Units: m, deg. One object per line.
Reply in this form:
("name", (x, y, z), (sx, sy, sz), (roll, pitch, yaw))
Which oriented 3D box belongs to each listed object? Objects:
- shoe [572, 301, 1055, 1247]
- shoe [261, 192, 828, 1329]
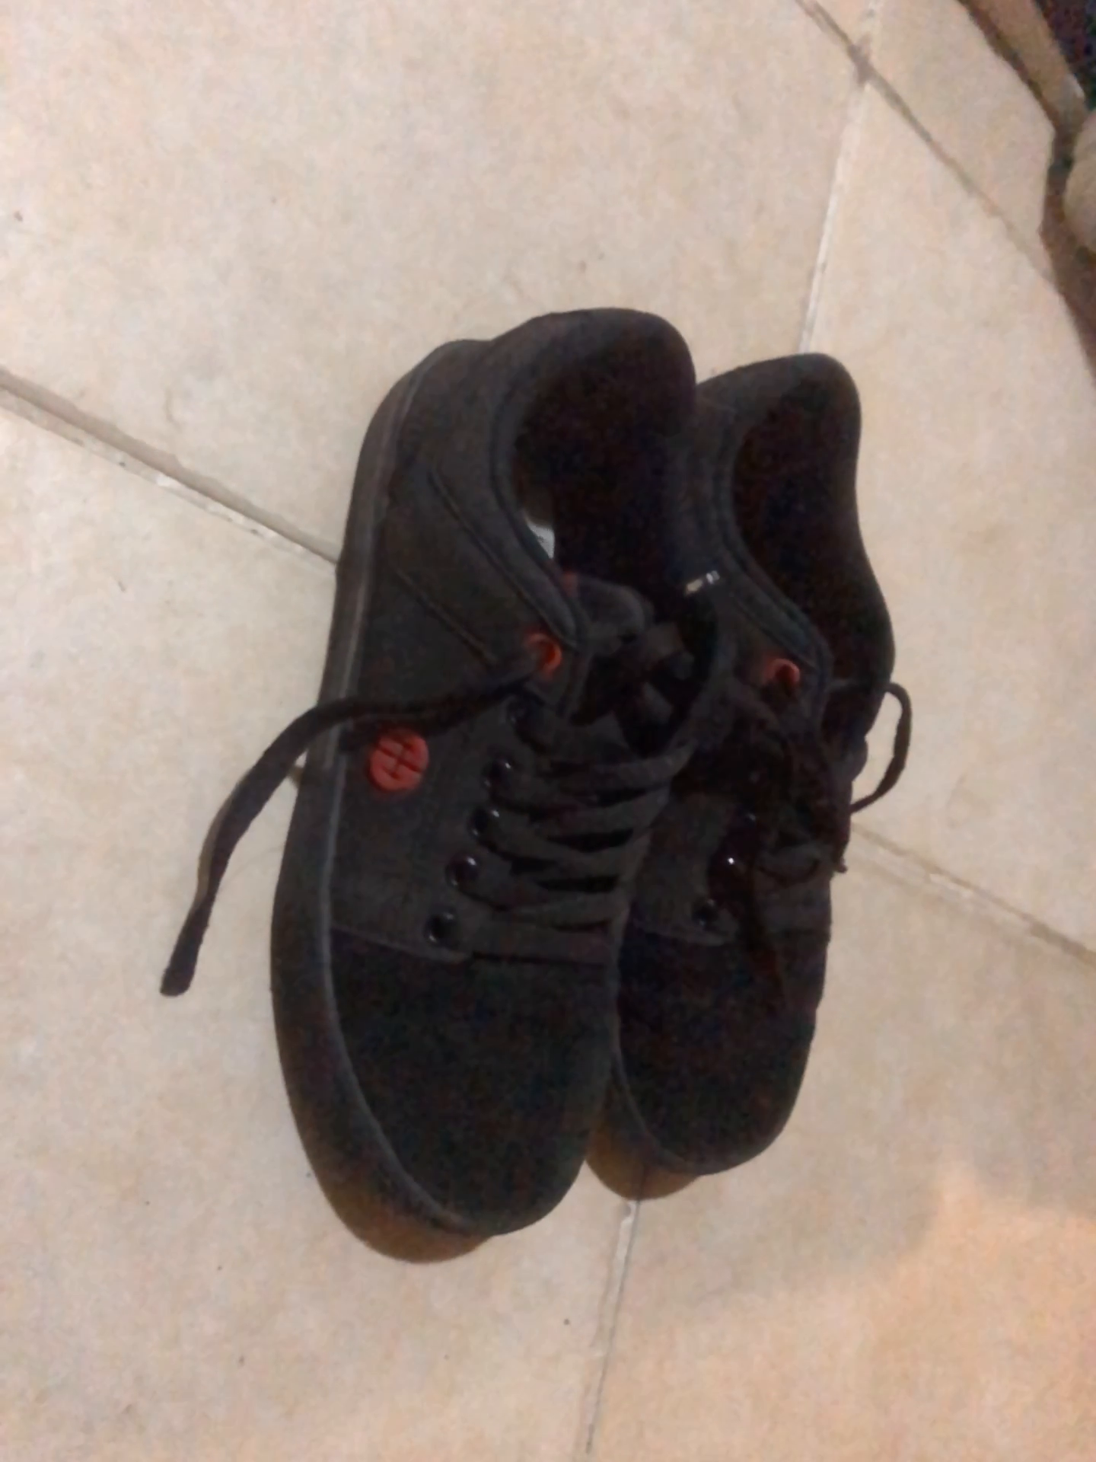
("shoe", (0.079, 0.013, 0.379), (0.101, 0.099, 0.240), (5, 82, -39))
("shoe", (0.002, 0.008, 0.325), (0.101, 0.099, 0.240), (9, 79, -39))
